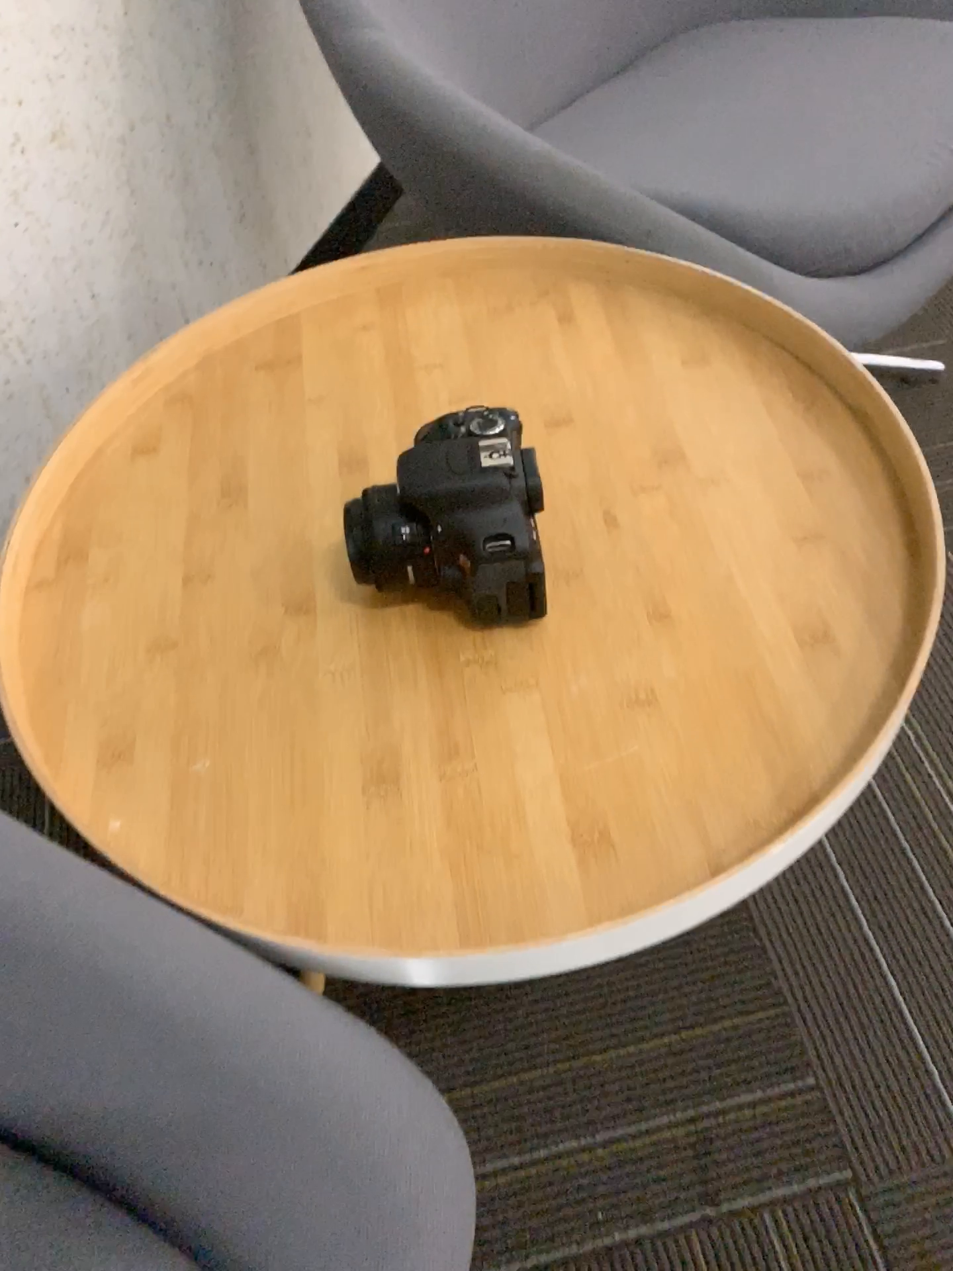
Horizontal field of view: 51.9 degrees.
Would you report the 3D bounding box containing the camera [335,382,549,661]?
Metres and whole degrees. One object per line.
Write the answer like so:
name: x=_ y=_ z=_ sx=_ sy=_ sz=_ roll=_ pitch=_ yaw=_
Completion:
camera: x=-0.022 y=-0.073 z=0.630 sx=0.120 sy=0.100 sz=0.135 roll=-6 pitch=53 yaw=1
